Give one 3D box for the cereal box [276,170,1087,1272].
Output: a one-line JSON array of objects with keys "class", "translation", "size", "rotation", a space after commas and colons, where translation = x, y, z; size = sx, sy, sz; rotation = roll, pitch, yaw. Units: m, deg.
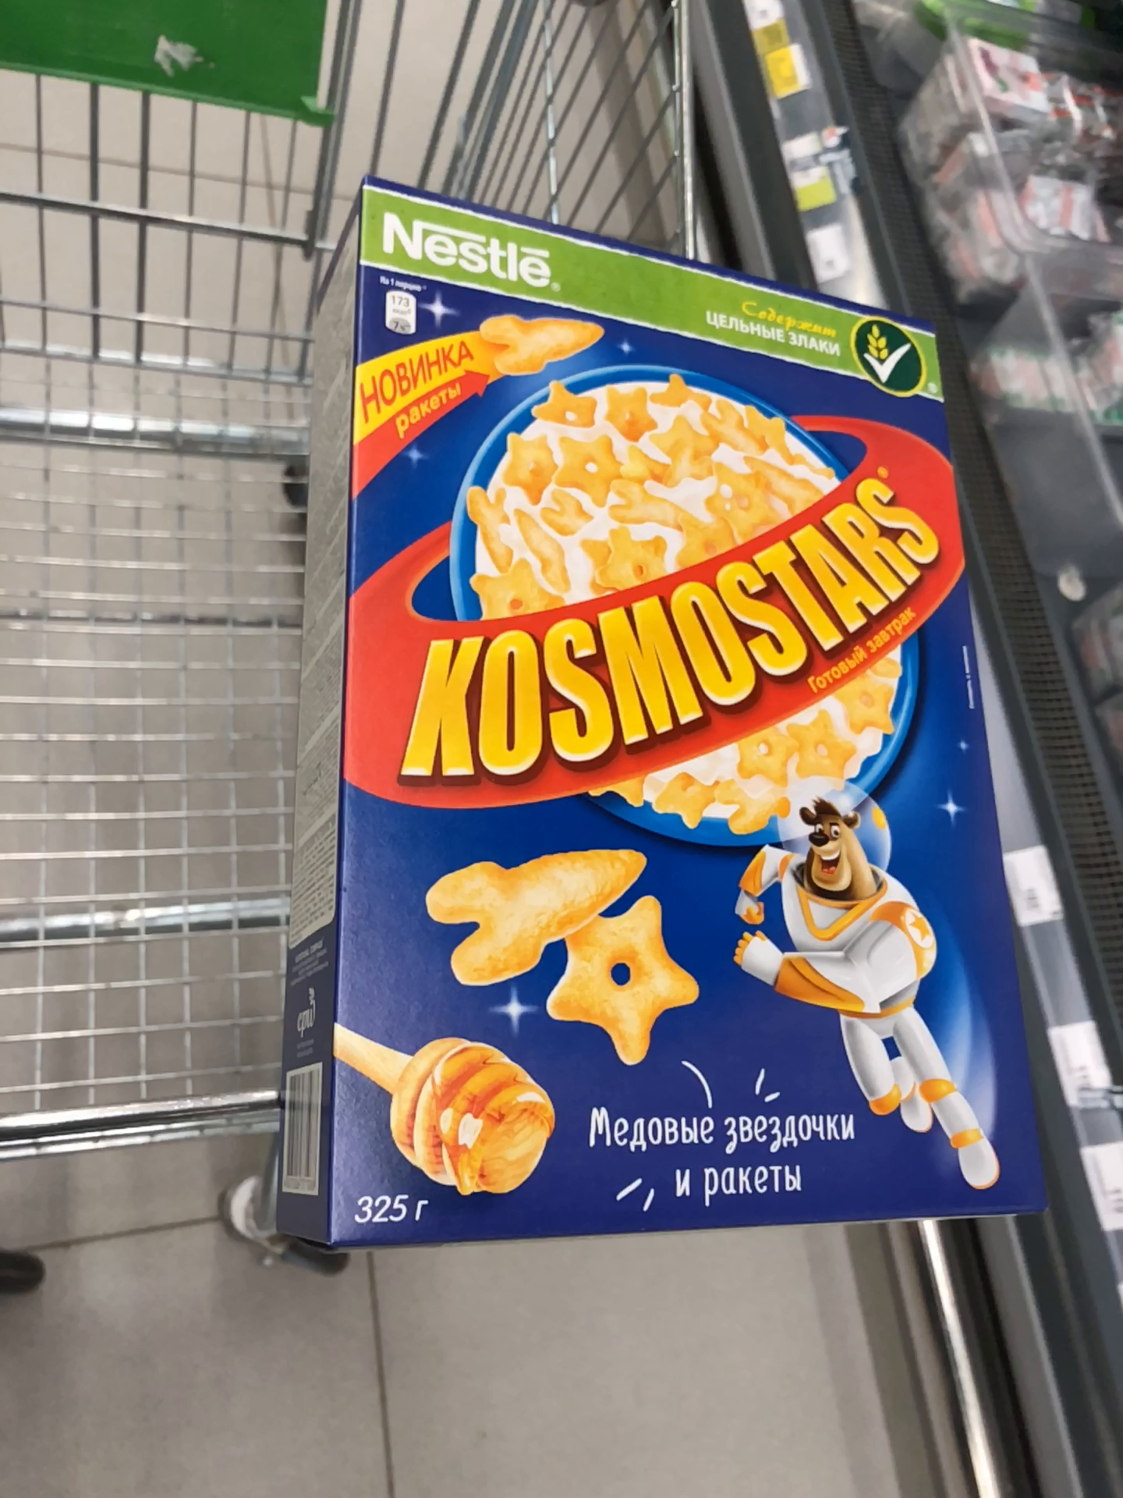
[{"class": "cereal box", "translation": [0.030, -0.009, 0.360], "size": [0.200, 0.060, 0.280], "rotation": [5, 71, -20]}]
